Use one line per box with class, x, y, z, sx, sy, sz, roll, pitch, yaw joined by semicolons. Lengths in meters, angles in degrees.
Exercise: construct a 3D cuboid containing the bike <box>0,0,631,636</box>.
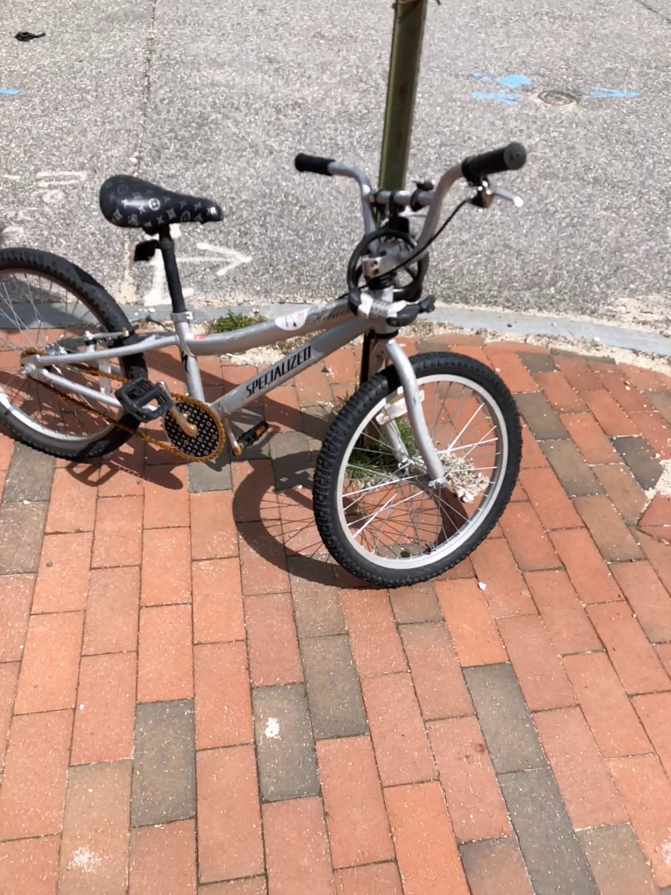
bike;-0.216;-0.292;1.411;1.208;0.831;0.720;11;42;6
